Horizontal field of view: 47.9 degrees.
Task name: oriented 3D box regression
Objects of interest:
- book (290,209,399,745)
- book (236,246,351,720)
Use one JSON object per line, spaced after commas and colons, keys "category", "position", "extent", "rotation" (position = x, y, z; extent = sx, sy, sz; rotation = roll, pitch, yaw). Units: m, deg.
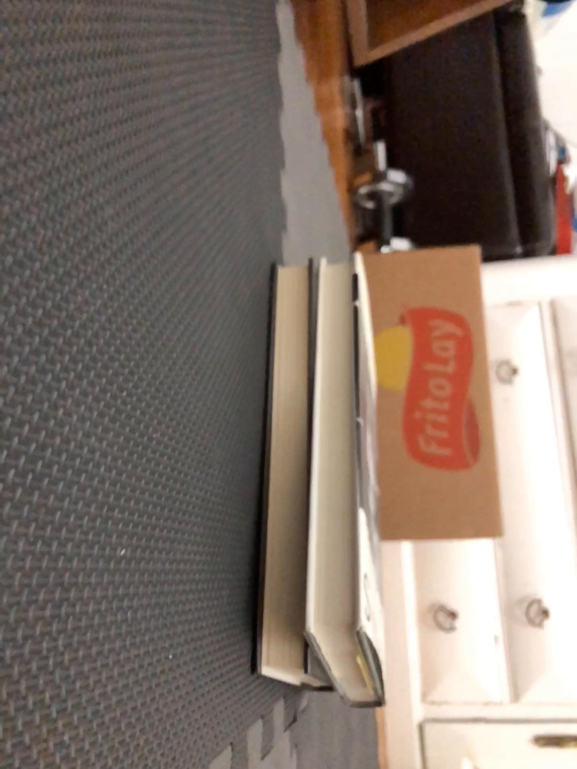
{"category": "book", "position": [0.040, 0.054, 0.408], "extent": [0.180, 0.030, 0.281], "rotation": [71, 18, -51]}
{"category": "book", "position": [0.010, 0.066, 0.403], "extent": [0.160, 0.030, 0.250], "rotation": [65, 23, -61]}
